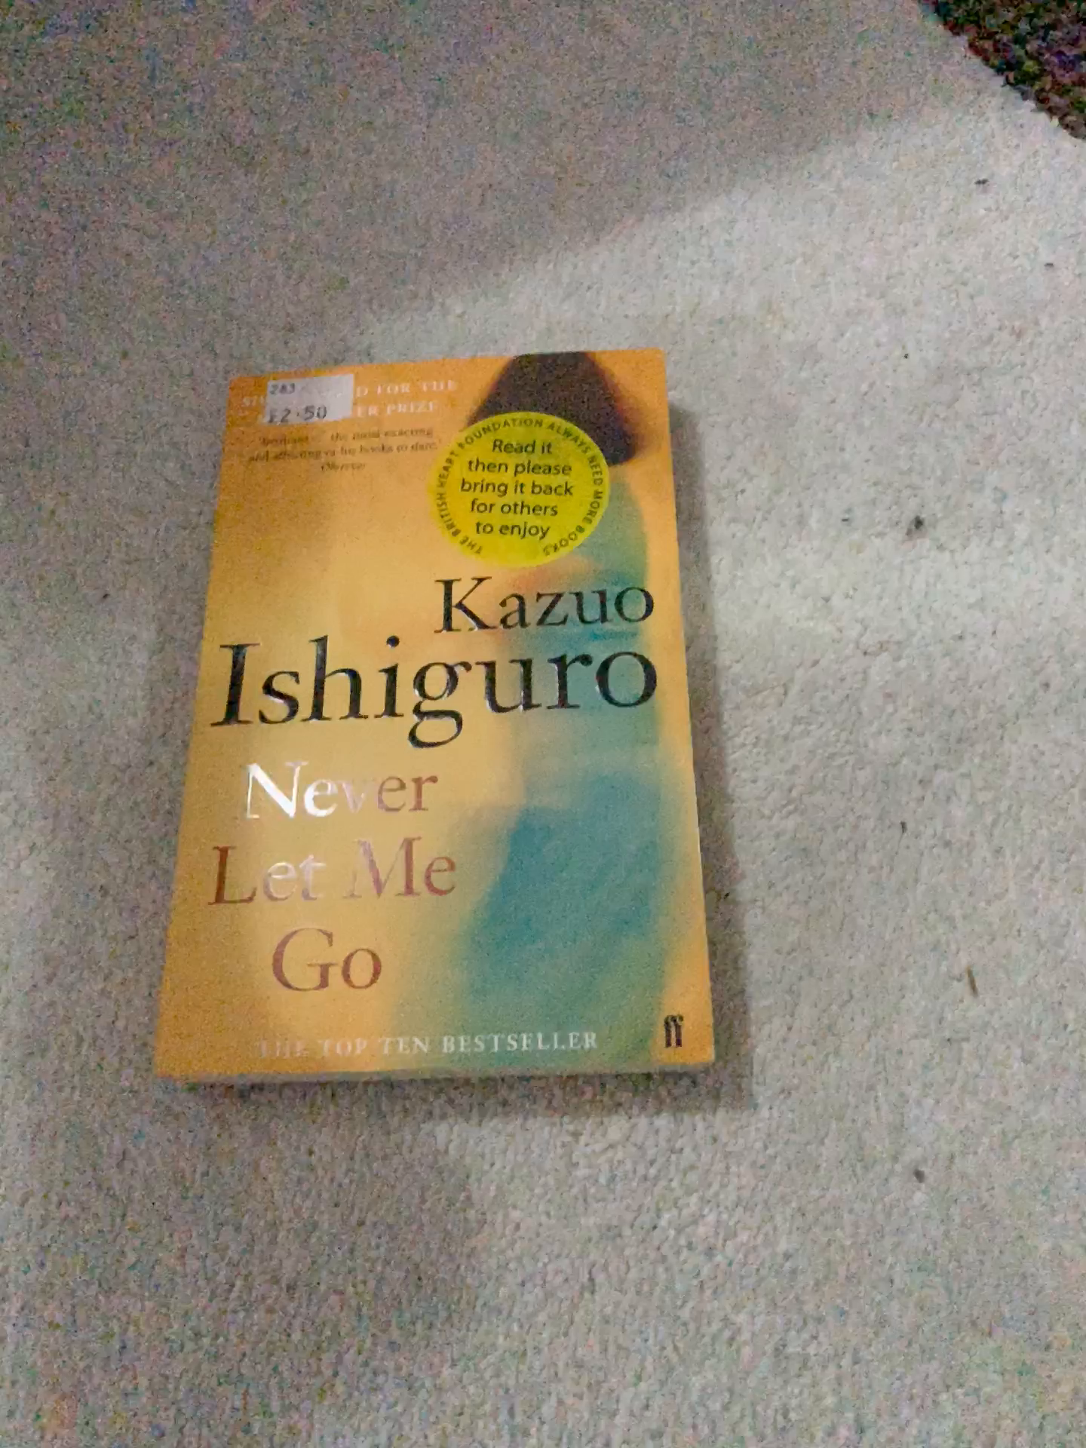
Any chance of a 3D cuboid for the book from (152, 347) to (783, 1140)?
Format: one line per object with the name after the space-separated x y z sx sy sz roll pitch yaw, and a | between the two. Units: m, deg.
-0.019 -0.004 0.296 0.140 0.020 0.211 -3 68 4 | book
